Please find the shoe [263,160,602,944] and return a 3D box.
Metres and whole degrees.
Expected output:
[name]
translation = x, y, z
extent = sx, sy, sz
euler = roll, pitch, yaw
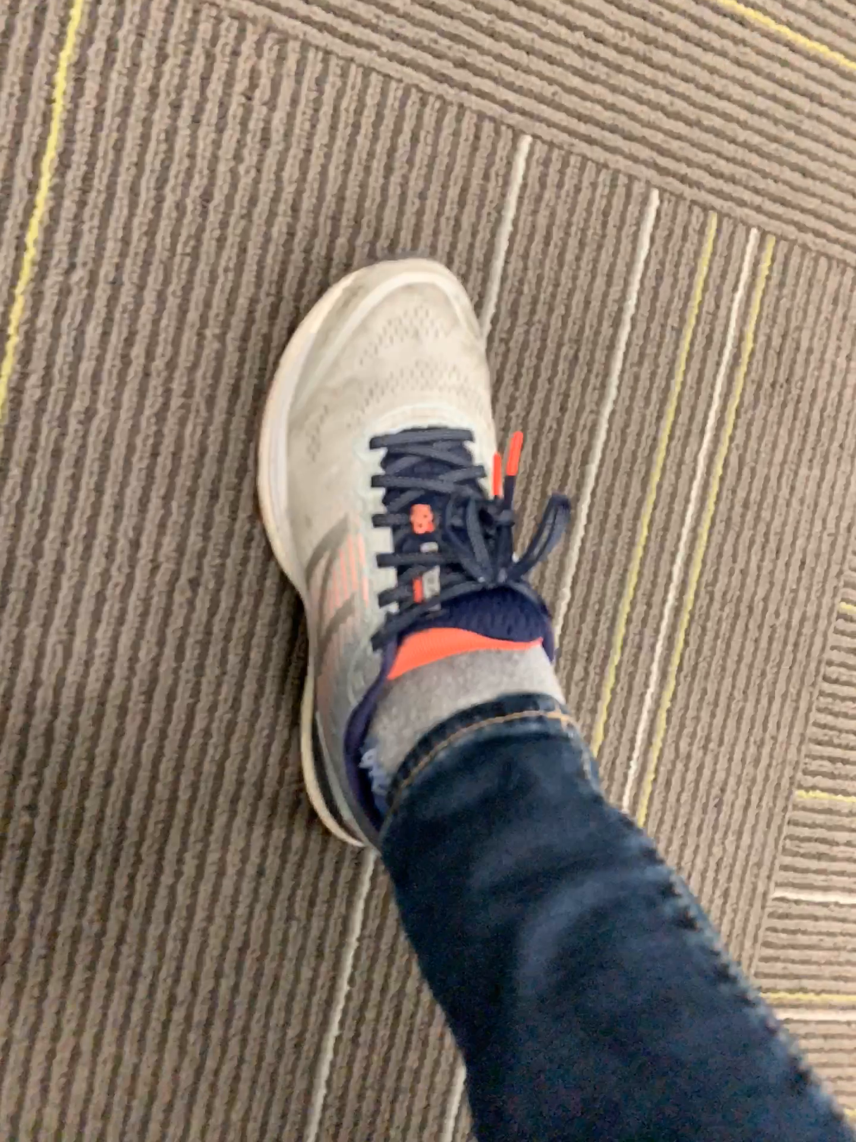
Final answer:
[shoe]
translation = -0.004, -0.006, 0.360
extent = 0.110, 0.090, 0.270
euler = -2, 97, -19
